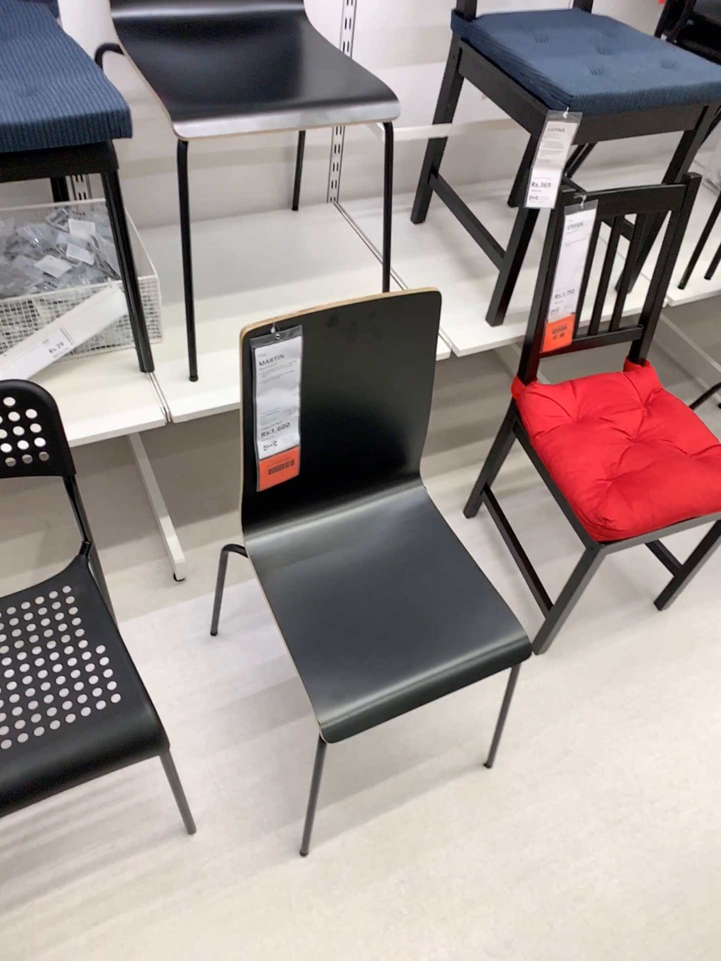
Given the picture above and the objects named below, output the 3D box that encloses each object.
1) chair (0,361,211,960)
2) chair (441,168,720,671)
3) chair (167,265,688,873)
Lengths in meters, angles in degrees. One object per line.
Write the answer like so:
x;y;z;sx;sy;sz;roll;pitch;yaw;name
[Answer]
-0.558;0.310;1.130;0.470;0.727;0.531;-17;54;-22;chair
0.558;-0.088;1.498;0.450;0.857;0.481;-15;53;-21;chair
0.014;0.180;1.288;0.480;0.827;0.592;-16;54;-21;chair
